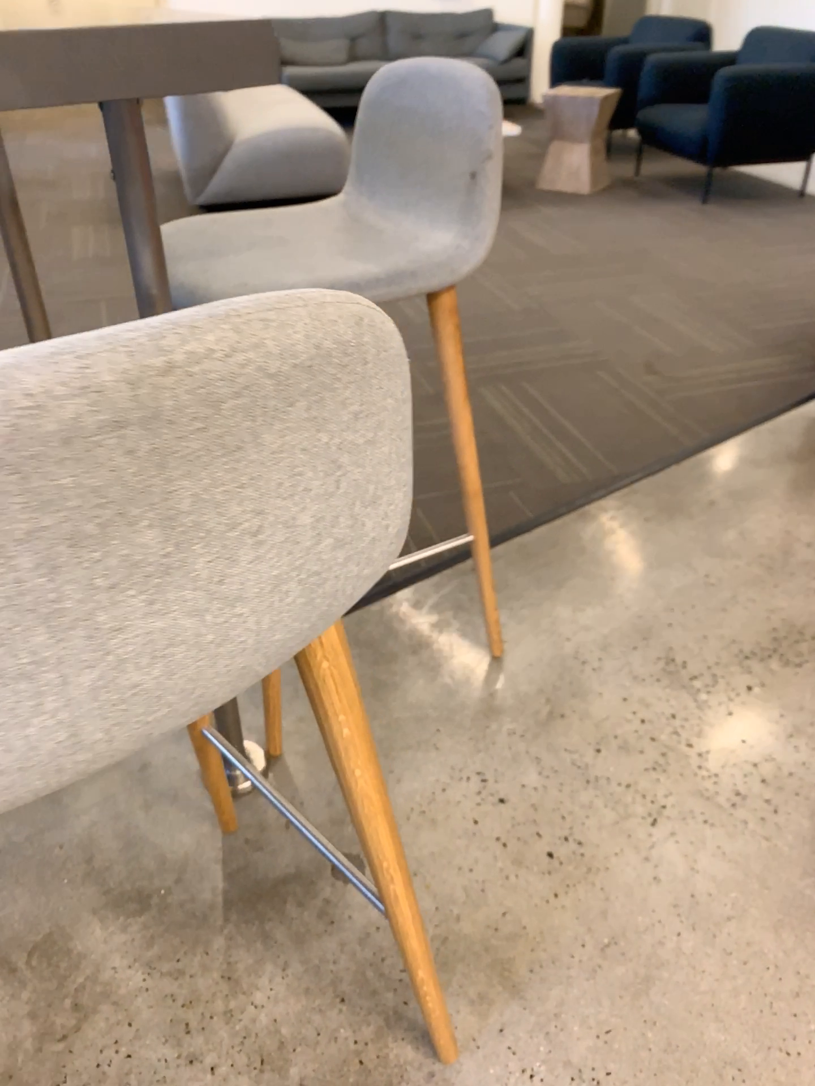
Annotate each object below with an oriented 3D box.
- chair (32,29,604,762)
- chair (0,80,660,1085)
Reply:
[{"bbox_3d":[-0.172,-0.298,1.457,0.540,0.964,0.714,-19,39,-26],"label":"chair"},{"bbox_3d":[-0.260,0.179,0.752,0.591,0.964,0.543,-26,42,-33],"label":"chair"}]
